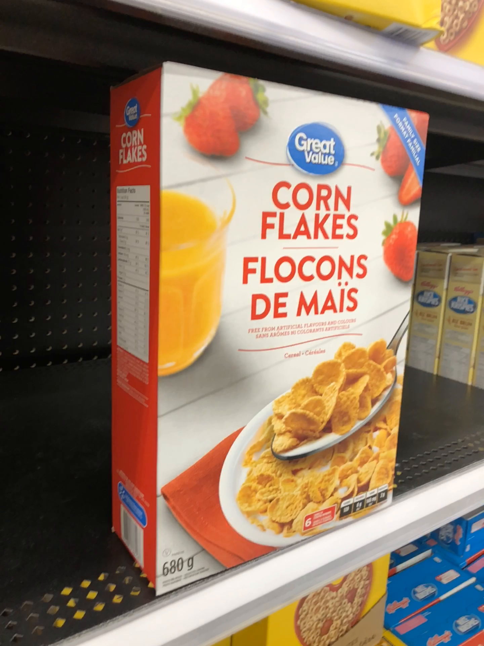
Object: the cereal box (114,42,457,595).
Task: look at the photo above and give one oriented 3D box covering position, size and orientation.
[{"bbox_3d":[0.033,-0.005,0.414,0.240,0.329,0.090,-5,14,-34],"label":"cereal box"}]
